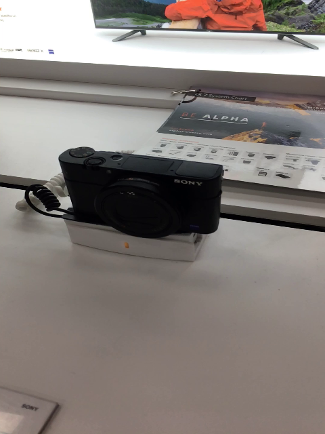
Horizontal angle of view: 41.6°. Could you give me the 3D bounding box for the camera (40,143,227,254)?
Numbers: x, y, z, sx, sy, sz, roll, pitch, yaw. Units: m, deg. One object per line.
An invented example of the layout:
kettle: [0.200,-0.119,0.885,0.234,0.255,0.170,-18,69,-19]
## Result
camera: [-0.017,-0.013,0.303,0.115,0.065,0.030,9,48,14]
